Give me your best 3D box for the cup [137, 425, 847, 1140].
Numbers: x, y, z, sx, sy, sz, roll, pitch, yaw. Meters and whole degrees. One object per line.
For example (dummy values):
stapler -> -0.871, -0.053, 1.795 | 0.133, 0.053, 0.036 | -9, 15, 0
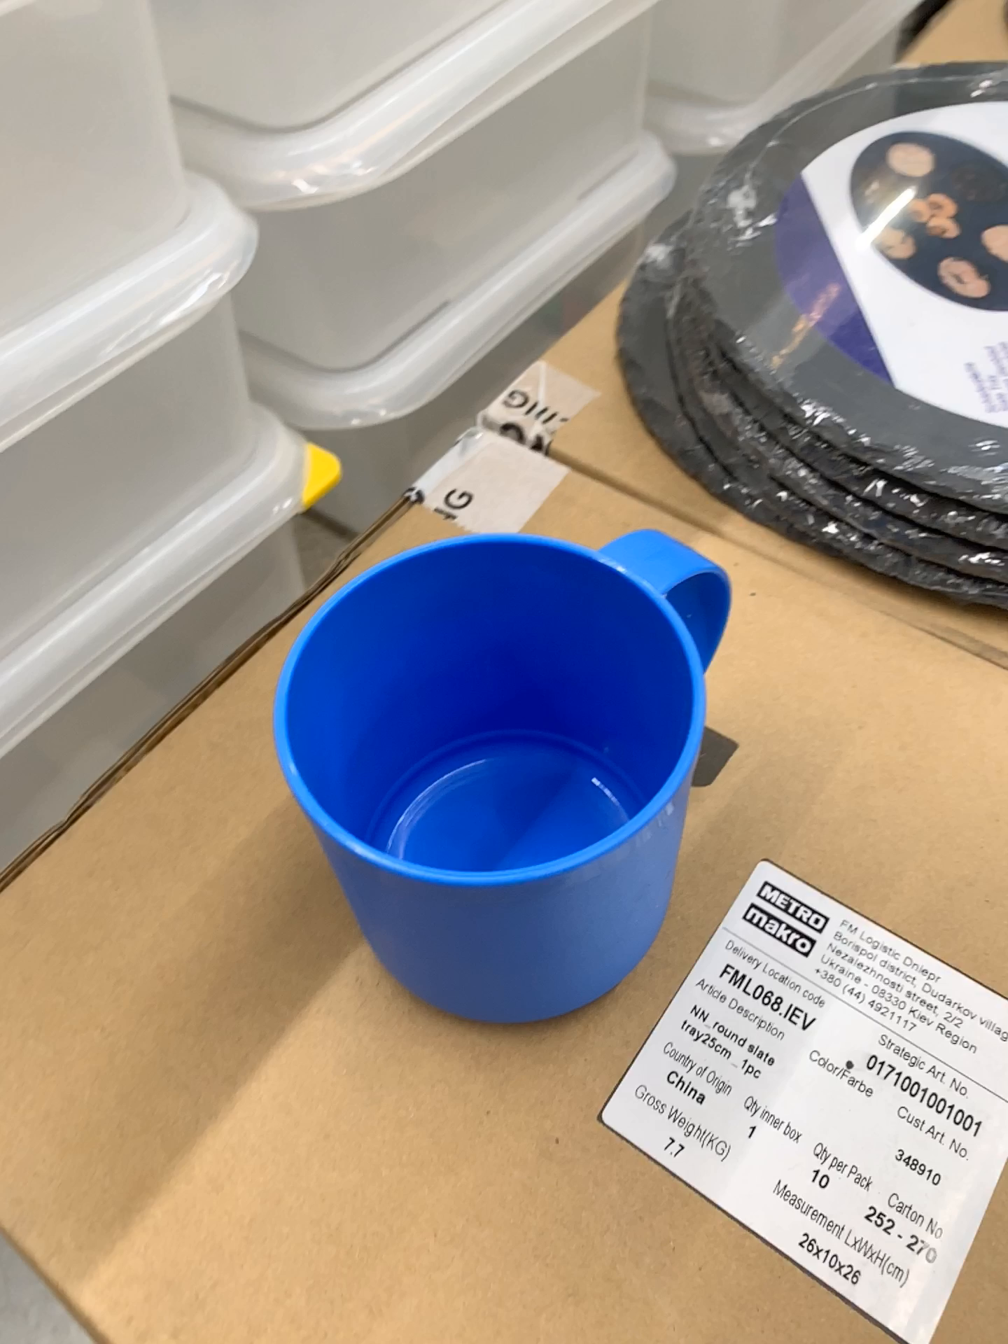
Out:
cup -> 0.002, 0.020, 0.232 | 0.089, 0.071, 0.110 | 32, 62, 26
